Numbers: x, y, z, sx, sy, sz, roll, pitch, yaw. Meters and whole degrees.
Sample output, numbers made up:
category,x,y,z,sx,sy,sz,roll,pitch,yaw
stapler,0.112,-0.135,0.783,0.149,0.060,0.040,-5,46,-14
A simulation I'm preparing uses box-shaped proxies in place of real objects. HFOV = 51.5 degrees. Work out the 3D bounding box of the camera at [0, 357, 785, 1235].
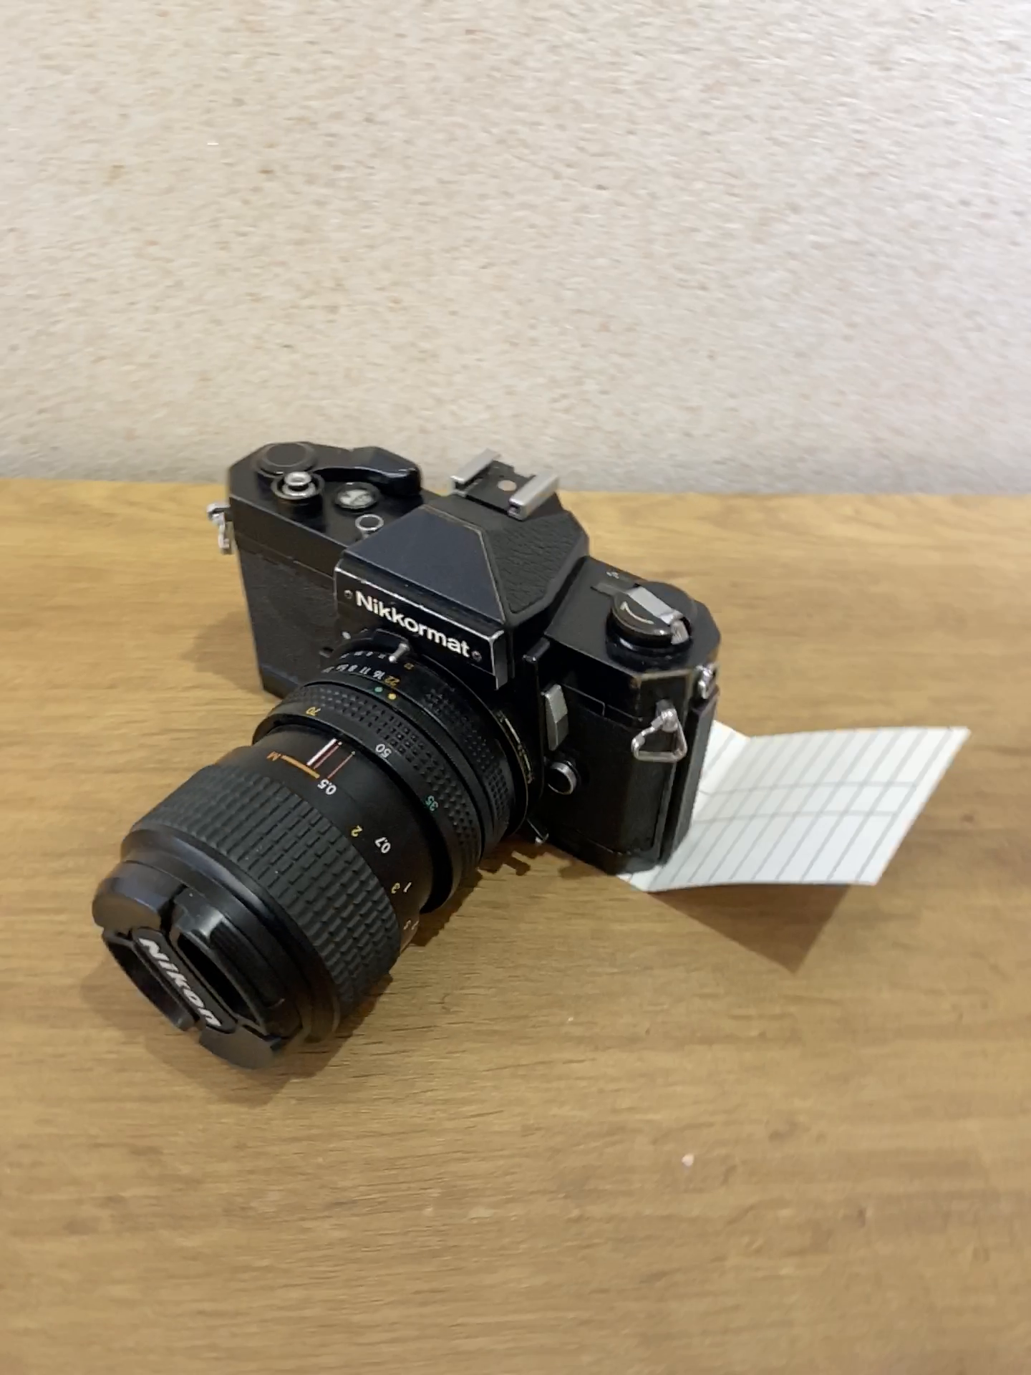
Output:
category,x,y,z,sx,sy,sz,roll,pitch,yaw
camera,-0.046,0.007,0.263,0.160,0.089,0.141,27,47,25
